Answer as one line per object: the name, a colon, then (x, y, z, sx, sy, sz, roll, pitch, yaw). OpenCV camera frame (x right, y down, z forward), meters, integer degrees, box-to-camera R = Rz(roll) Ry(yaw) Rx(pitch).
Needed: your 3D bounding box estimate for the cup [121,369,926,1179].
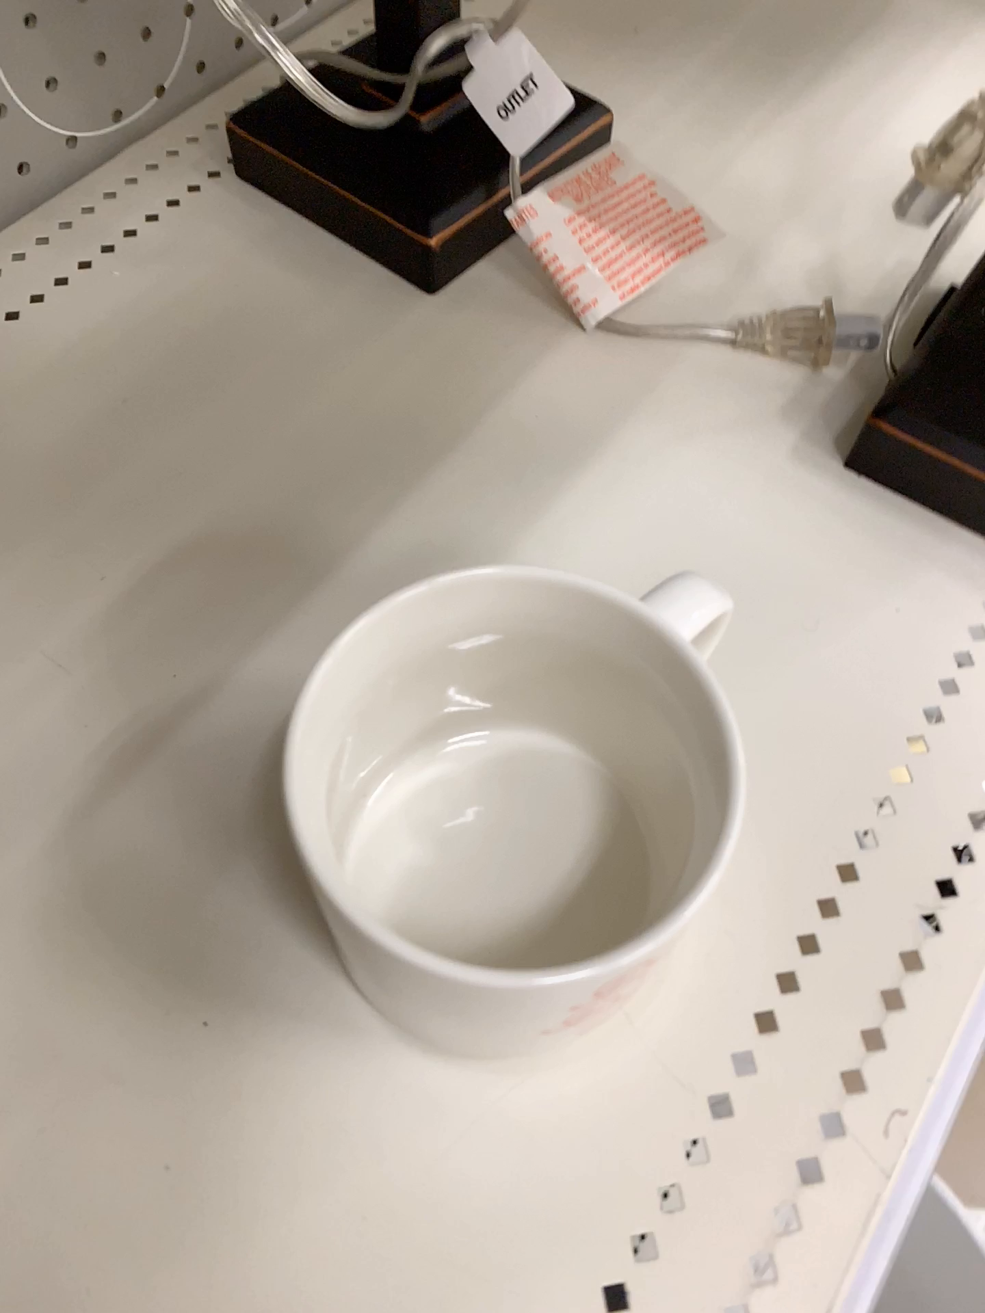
cup: (0.012, 0.027, 0.252, 0.100, 0.090, 0.150, 35, 64, 16)
